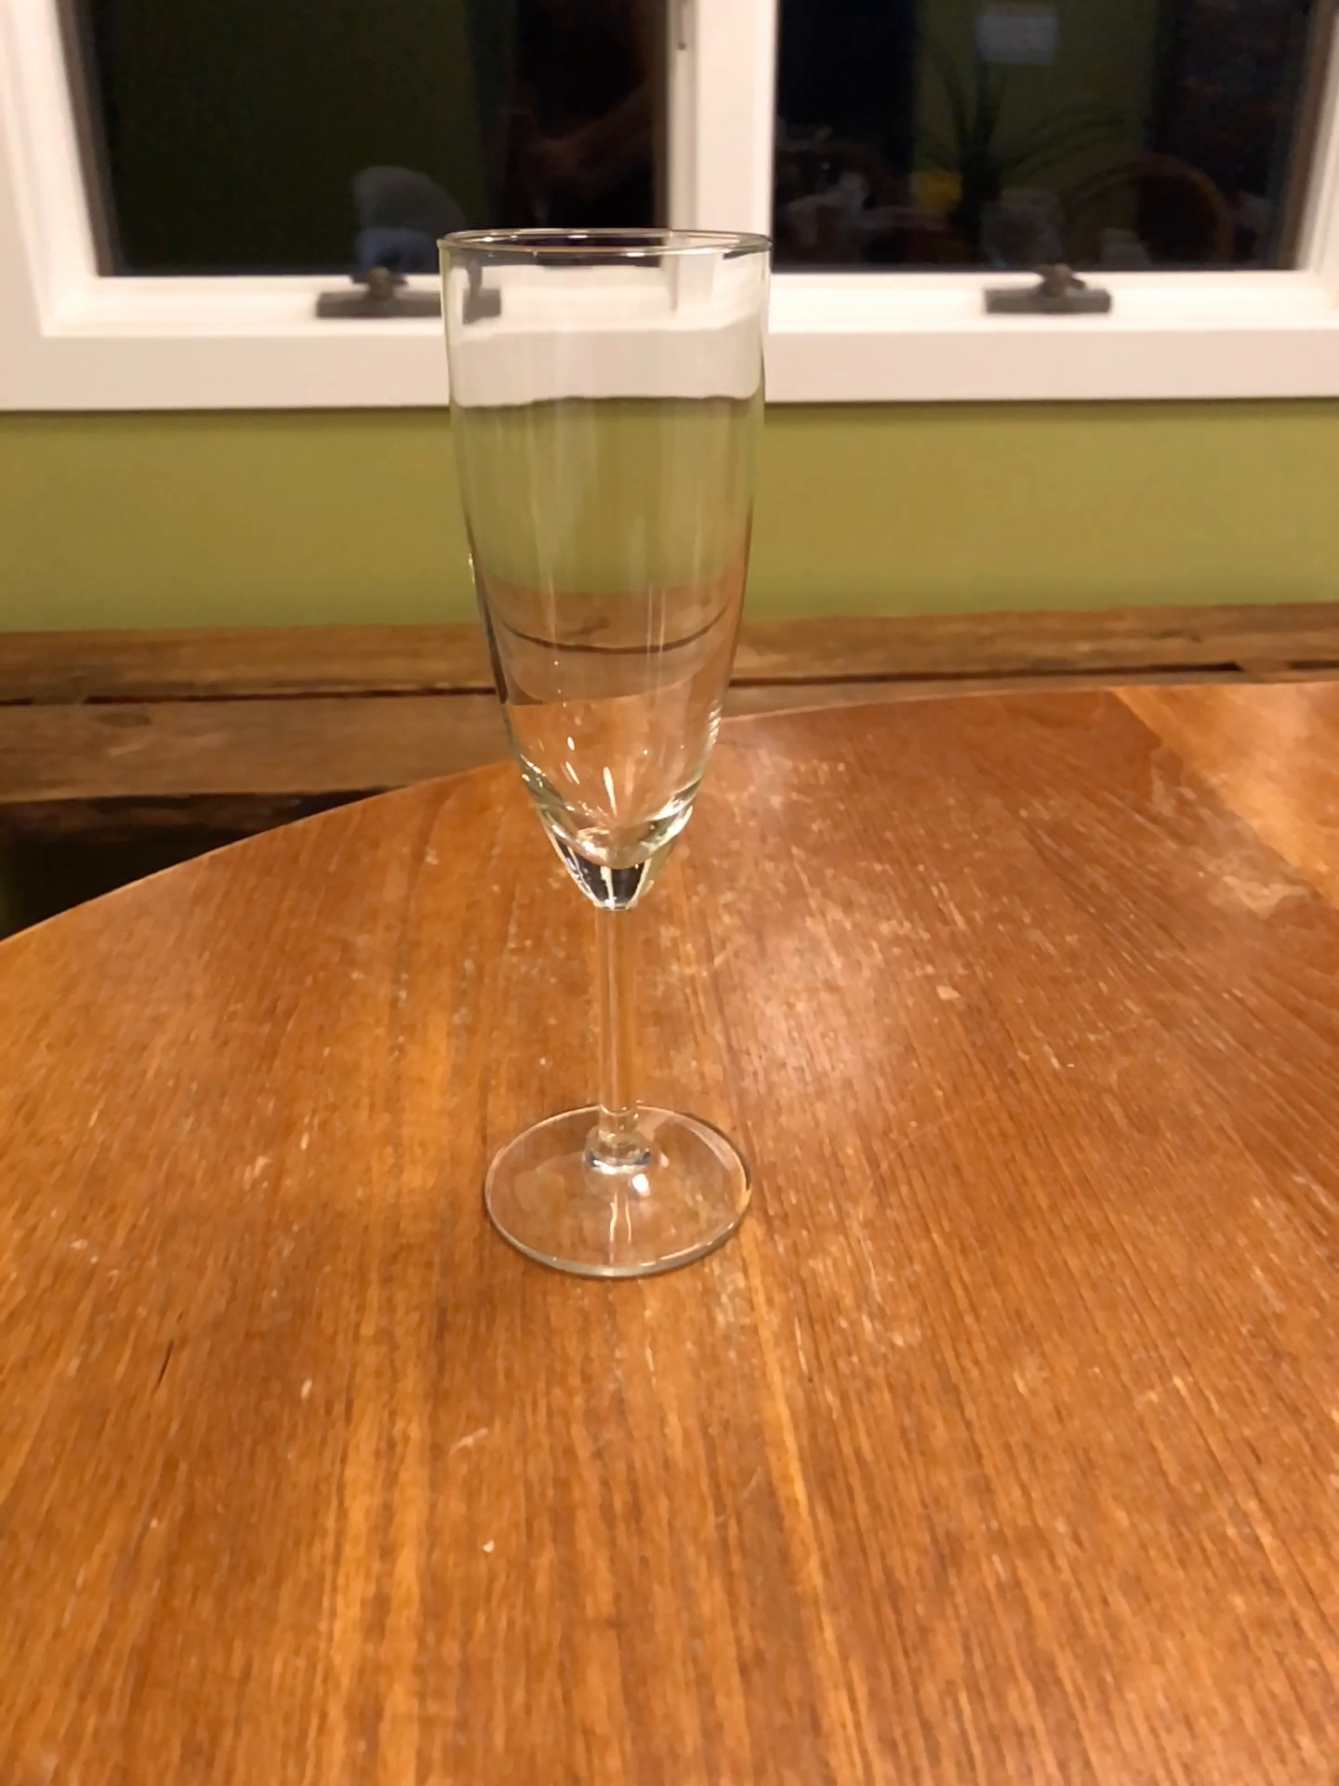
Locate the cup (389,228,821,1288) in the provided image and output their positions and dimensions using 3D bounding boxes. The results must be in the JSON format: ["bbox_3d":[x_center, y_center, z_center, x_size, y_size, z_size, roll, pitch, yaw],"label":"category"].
[{"bbox_3d":[-0.013,-0.025,0.319,0.070,0.211,0.077,-2,26,-4],"label":"cup"}]
